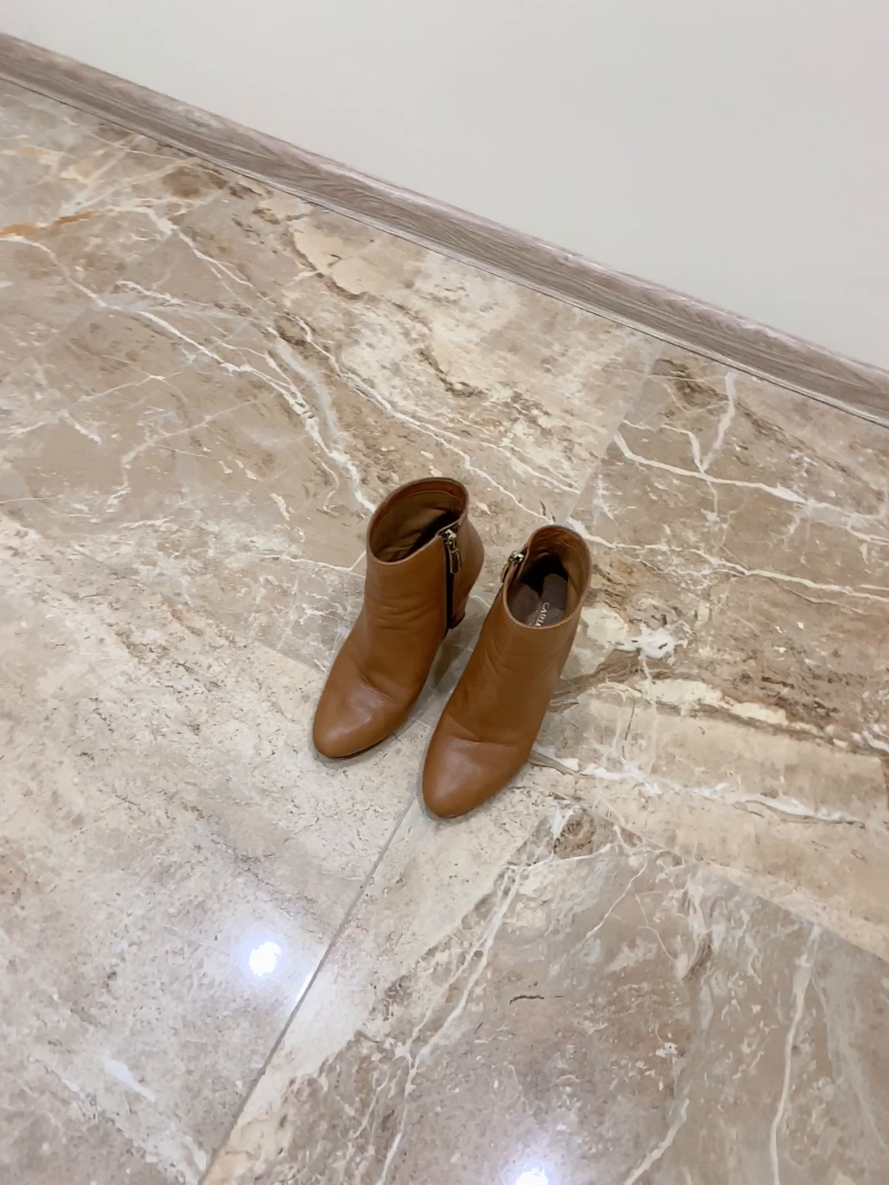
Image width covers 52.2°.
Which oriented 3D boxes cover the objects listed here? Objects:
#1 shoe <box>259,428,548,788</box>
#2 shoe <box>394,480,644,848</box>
[{"bbox_3d":[-0.031,0.015,0.731,0.090,0.185,0.221,35,60,16],"label":"shoe"},{"bbox_3d":[0.054,0.057,0.702,0.090,0.175,0.211,25,58,10],"label":"shoe"}]
